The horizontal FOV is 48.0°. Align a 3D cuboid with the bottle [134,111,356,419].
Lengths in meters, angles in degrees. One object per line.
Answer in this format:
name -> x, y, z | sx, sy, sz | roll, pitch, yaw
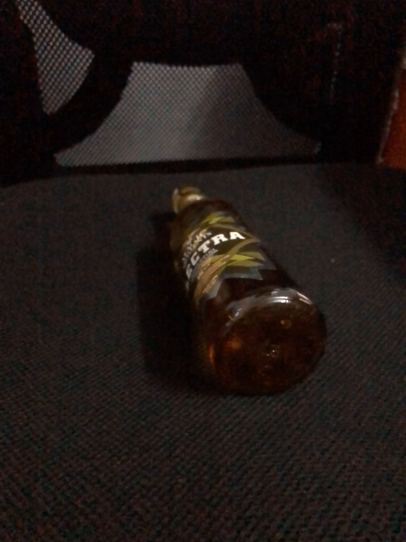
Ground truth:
bottle -> 0.007, -0.030, 0.289 | 0.070, 0.060, 0.231 | -13, 38, -5
